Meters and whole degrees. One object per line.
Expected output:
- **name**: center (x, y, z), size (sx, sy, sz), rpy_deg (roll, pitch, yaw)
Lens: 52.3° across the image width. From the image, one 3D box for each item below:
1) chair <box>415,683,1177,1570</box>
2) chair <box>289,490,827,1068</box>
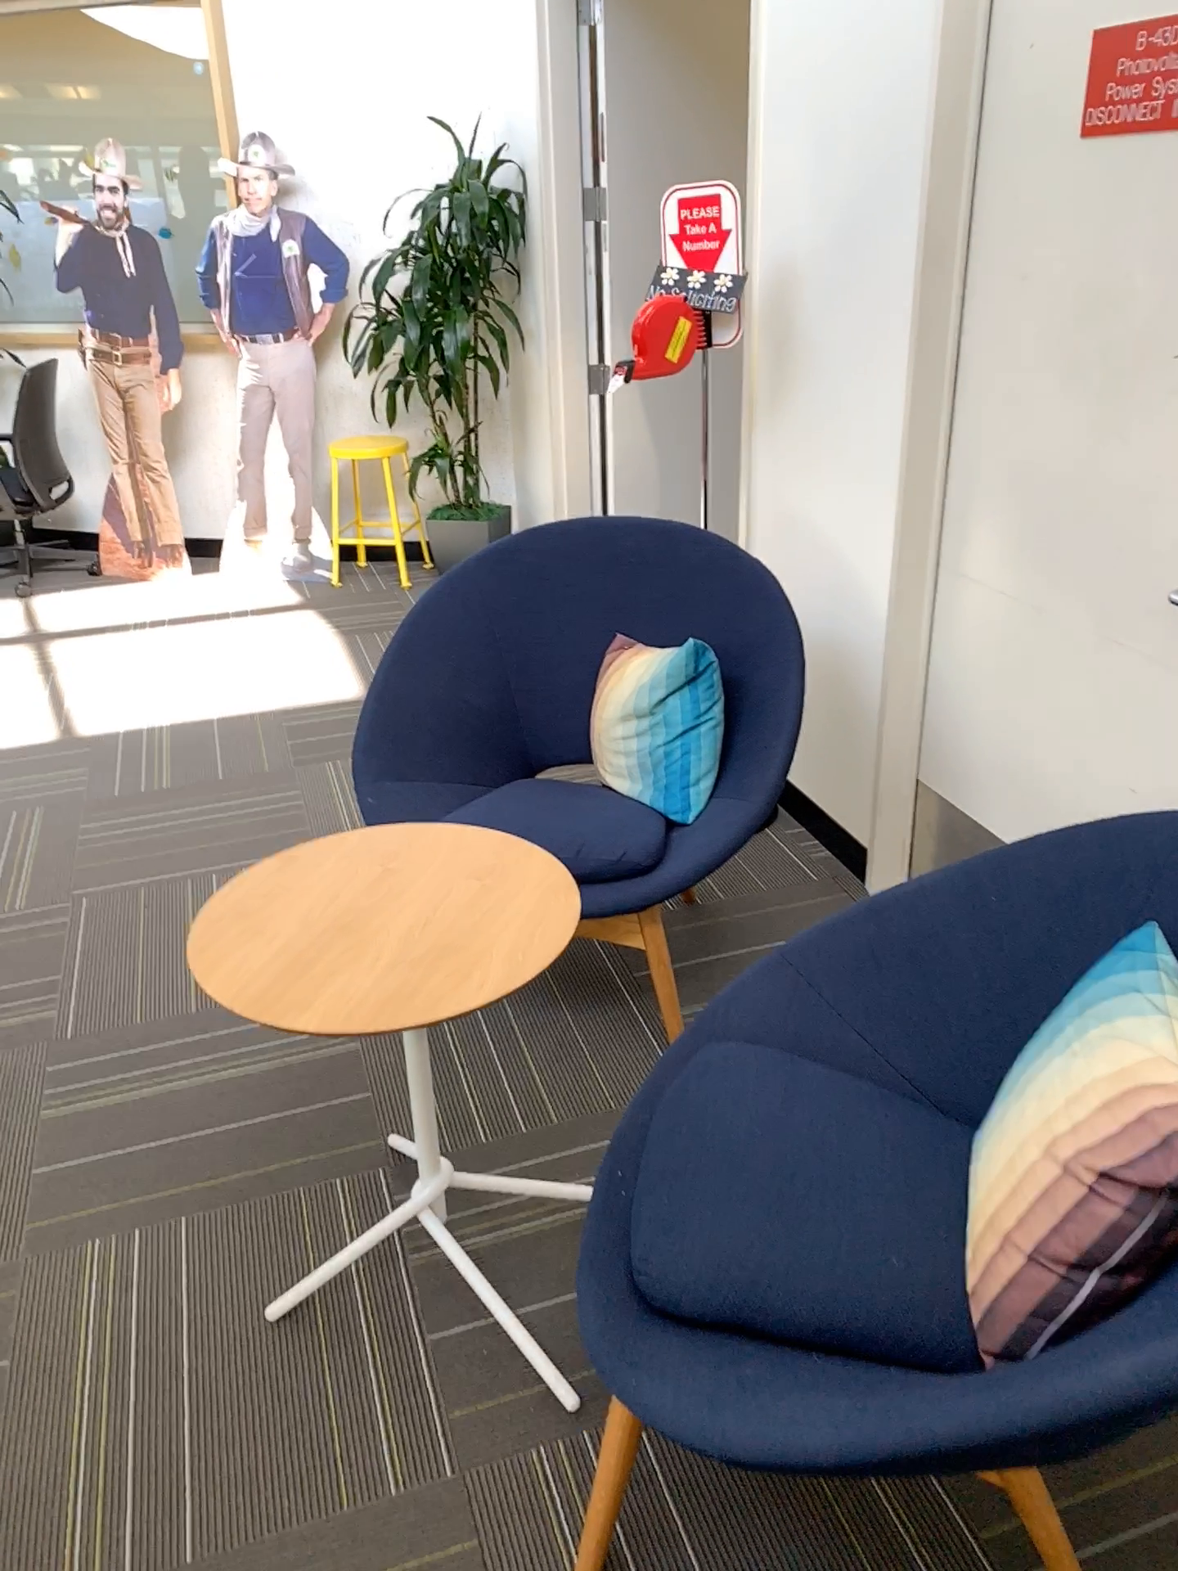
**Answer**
- **chair**: center (0.470, 0.520, 1.448), size (0.982, 0.945, 0.833), rpy_deg (9, 28, 22)
- **chair**: center (0.003, -0.086, 2.502), size (0.791, 0.835, 0.844), rpy_deg (8, 27, 19)
